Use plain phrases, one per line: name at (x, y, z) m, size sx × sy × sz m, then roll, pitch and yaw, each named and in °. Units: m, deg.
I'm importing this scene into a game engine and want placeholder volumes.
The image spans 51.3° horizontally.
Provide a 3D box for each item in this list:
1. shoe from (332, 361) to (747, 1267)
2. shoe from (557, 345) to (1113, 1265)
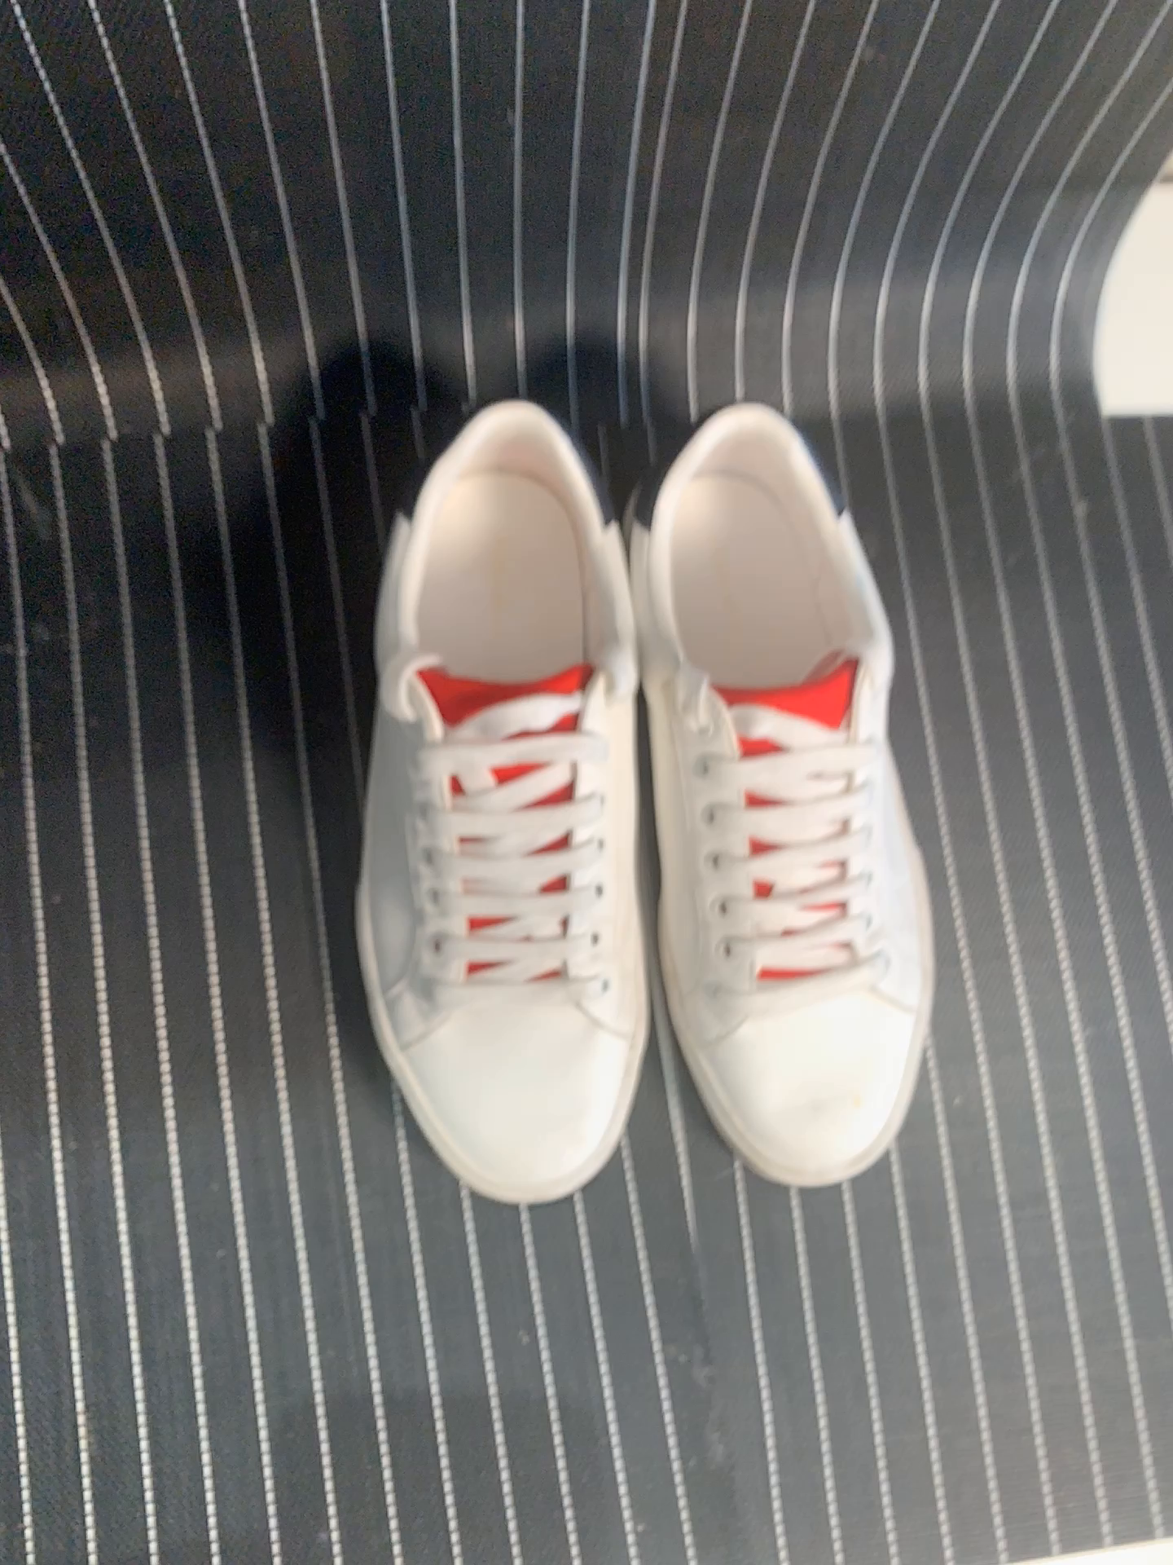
shoe at (-0.023, 0.006, 0.437) m, size 0.120 × 0.090 × 0.290 m, roll -2°, pitch 79°, yaw -6°
shoe at (0.076, 0.004, 0.444) m, size 0.120 × 0.090 × 0.290 m, roll -9°, pitch 80°, yaw -8°
